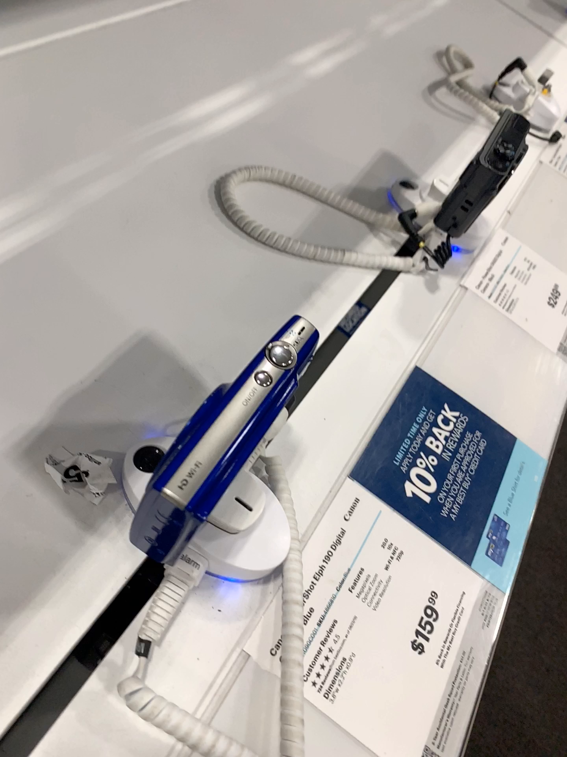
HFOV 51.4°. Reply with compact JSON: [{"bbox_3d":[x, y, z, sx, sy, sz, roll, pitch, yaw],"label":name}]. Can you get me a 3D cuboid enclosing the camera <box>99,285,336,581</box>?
[{"bbox_3d":[-0.023,0.018,0.223,0.027,0.060,0.100,35,49,-2],"label":"camera"}]
